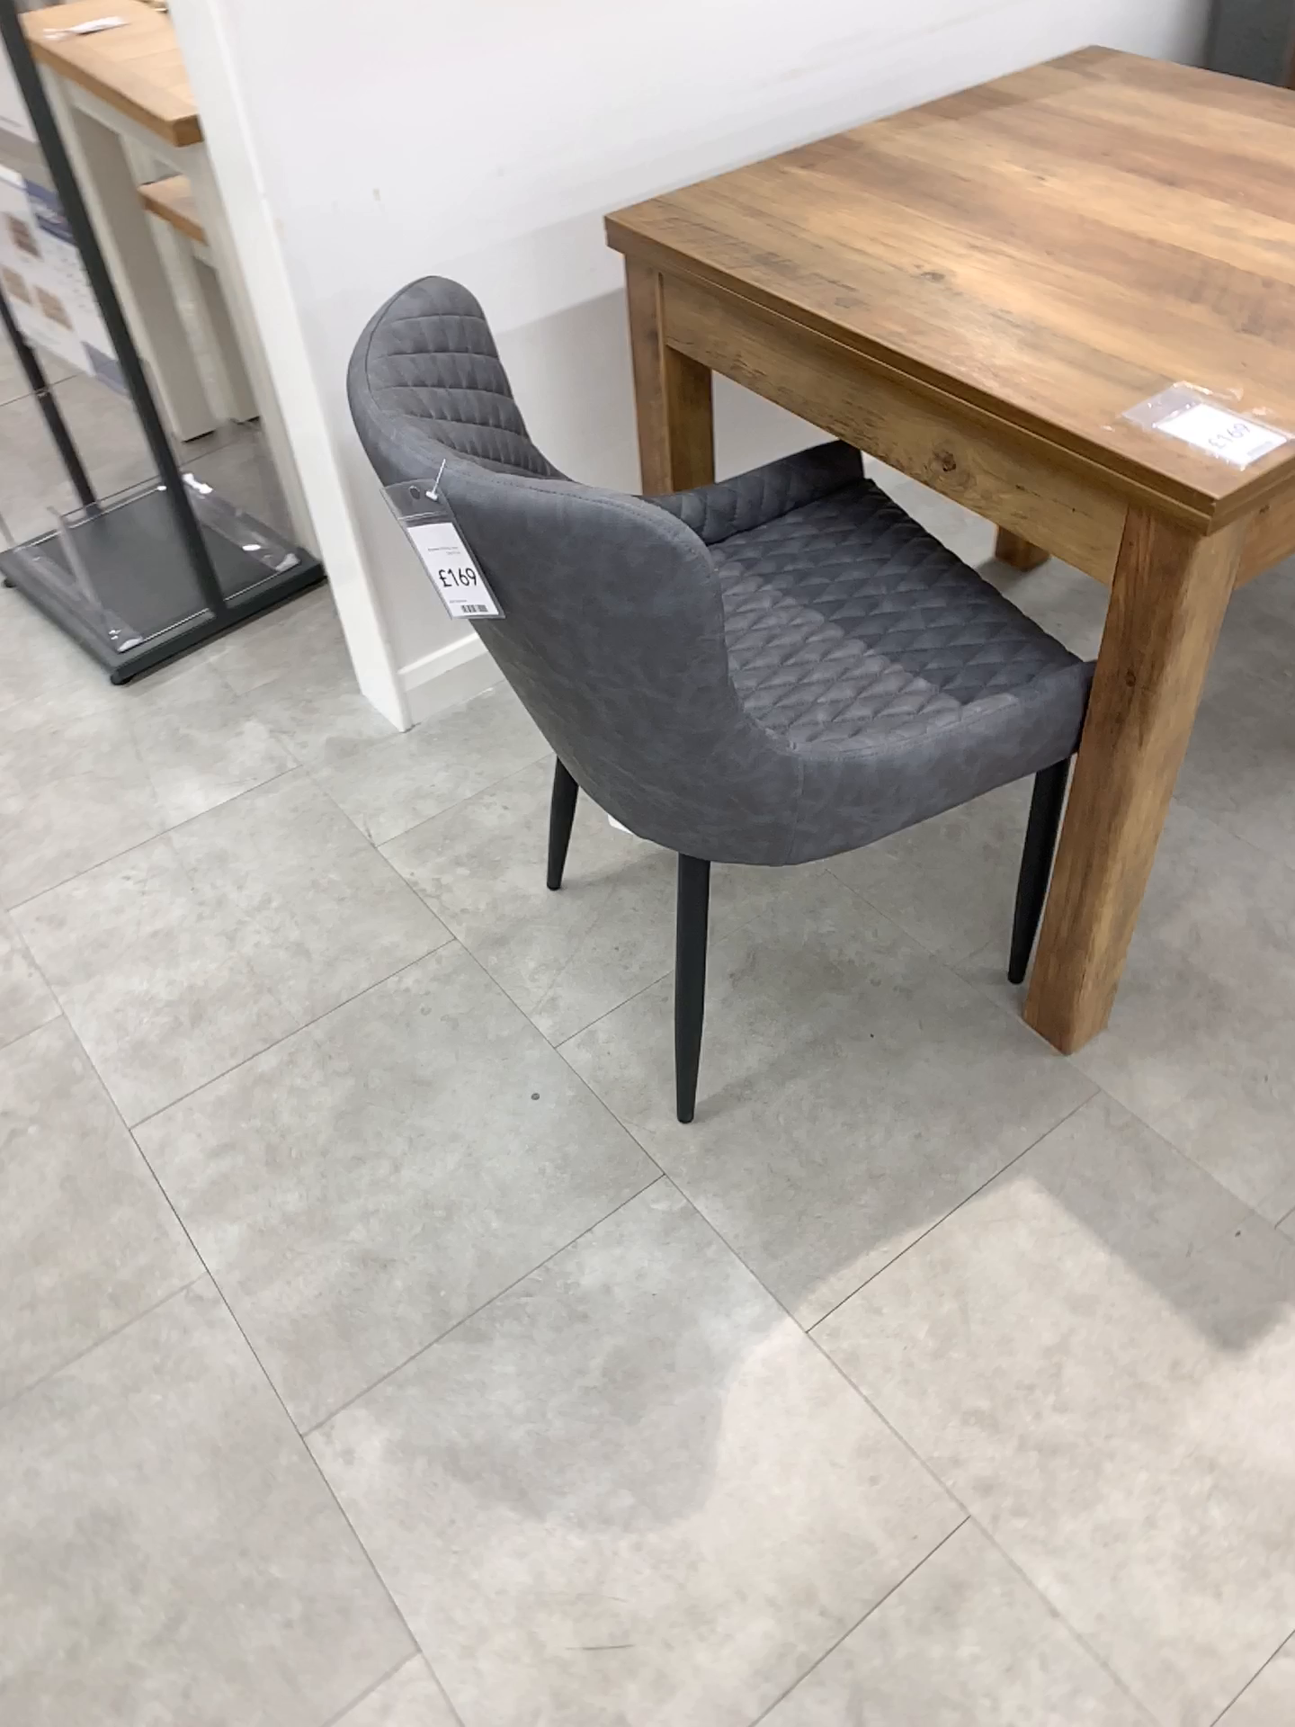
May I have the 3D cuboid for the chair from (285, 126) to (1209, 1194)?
[{"bbox_3d":[0.075,-0.195,1.331,0.550,0.775,0.532,-23,48,-16],"label":"chair"}]
